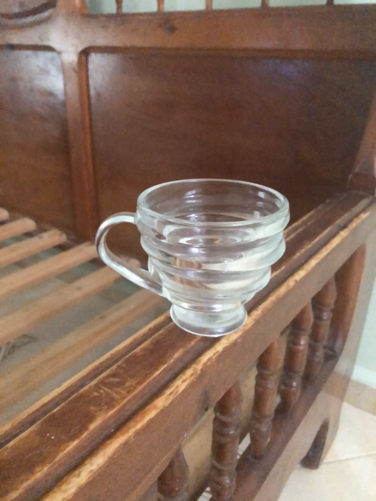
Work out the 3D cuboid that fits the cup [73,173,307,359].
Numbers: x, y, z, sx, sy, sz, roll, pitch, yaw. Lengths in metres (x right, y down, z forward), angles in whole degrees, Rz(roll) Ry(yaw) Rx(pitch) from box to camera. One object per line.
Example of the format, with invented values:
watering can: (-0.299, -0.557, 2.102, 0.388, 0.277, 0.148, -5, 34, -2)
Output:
cup: (0.006, 0.002, 0.232, 0.105, 0.065, 0.076, 6, 25, 11)
